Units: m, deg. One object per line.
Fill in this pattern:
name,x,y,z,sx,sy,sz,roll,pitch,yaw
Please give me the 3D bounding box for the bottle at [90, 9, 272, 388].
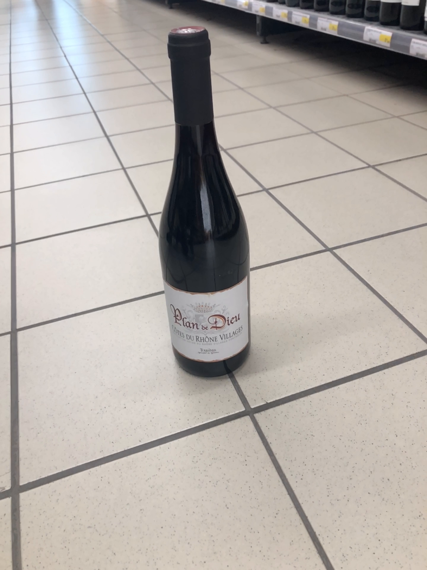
bottle,-0.006,-0.056,0.393,0.100,0.288,0.101,-3,35,2
